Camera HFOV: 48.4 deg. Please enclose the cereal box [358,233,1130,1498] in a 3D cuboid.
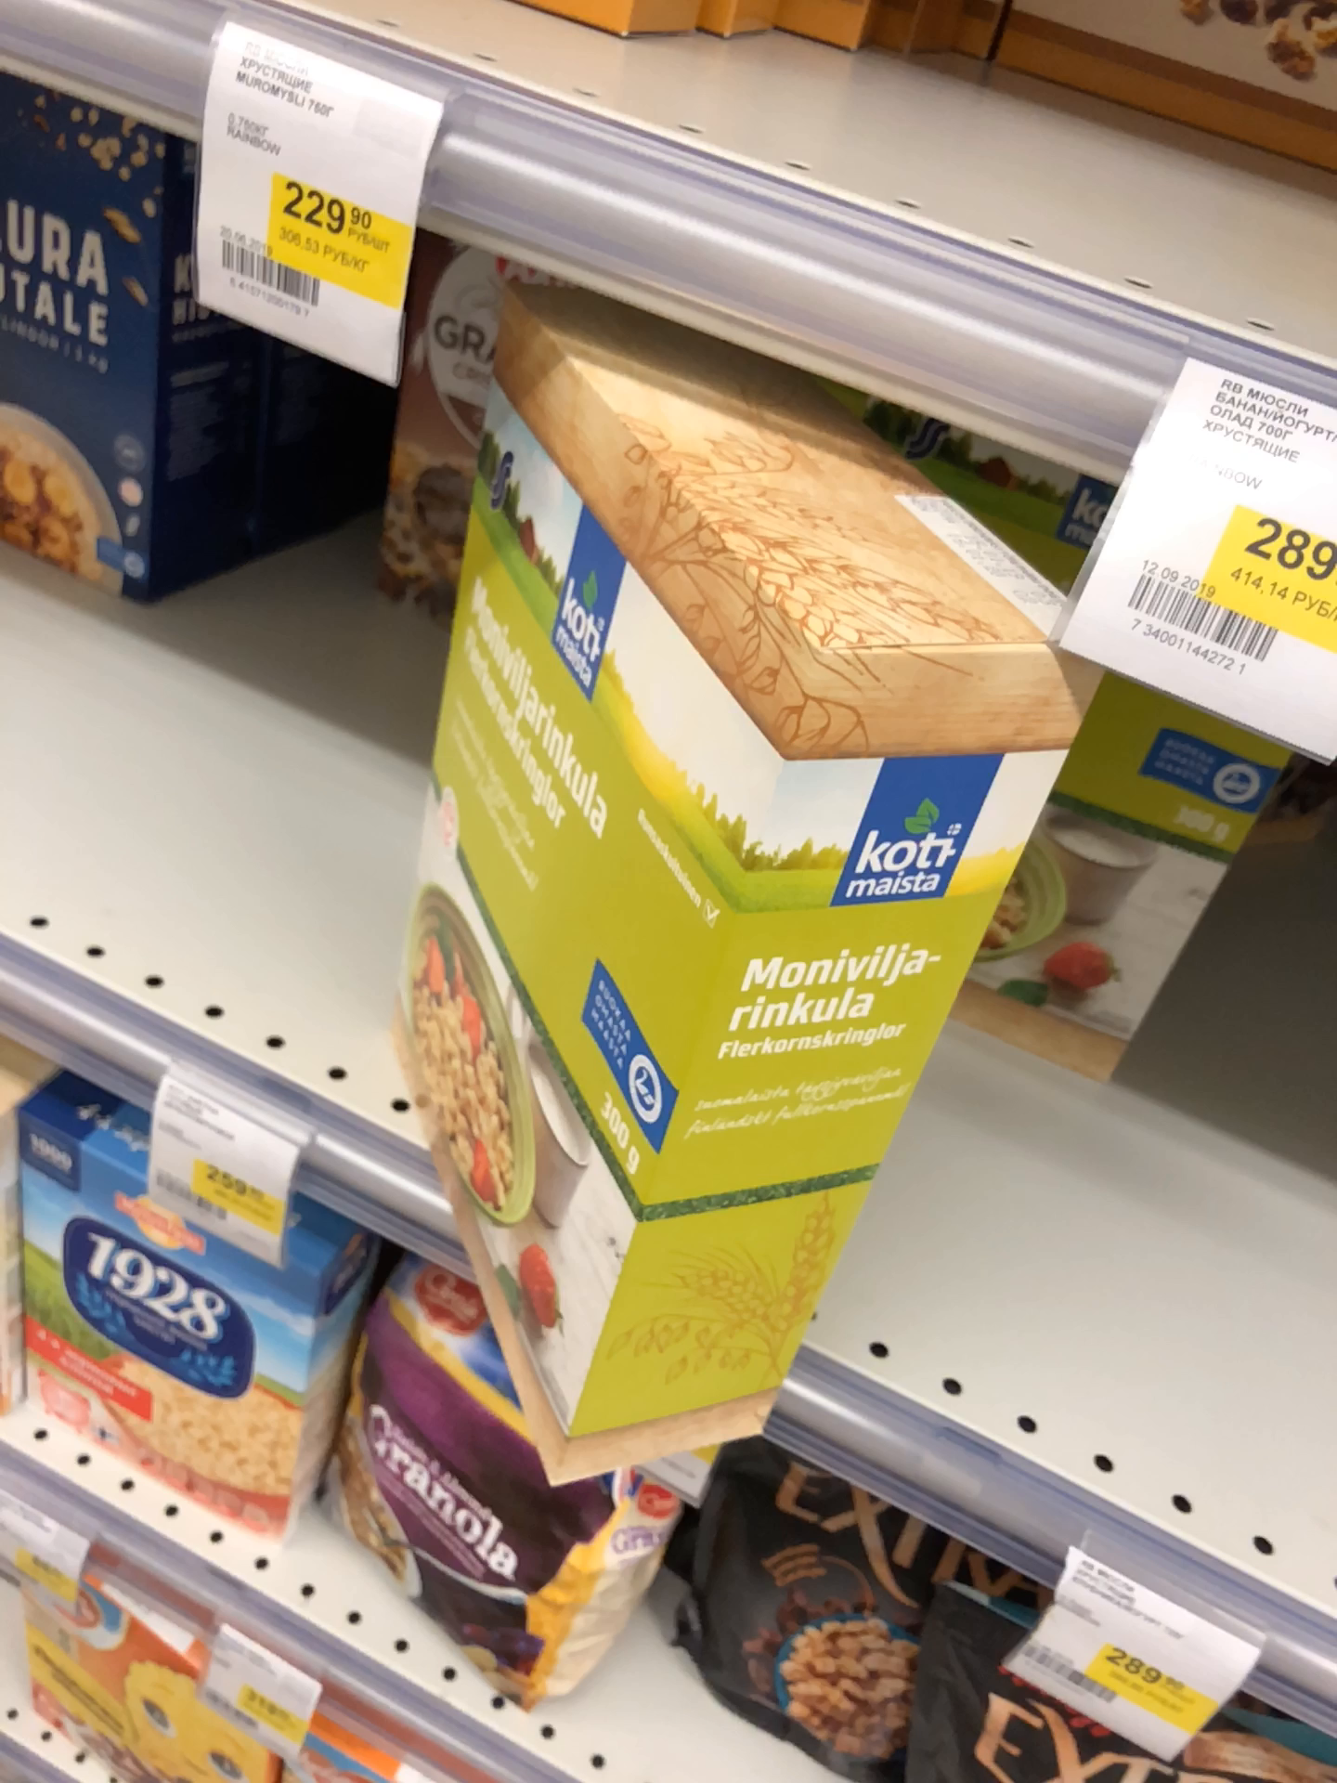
[{"bbox_3d":[-0.013,-0.005,0.393,0.070,0.258,0.191,-3,40,-25],"label":"cereal box"}]
